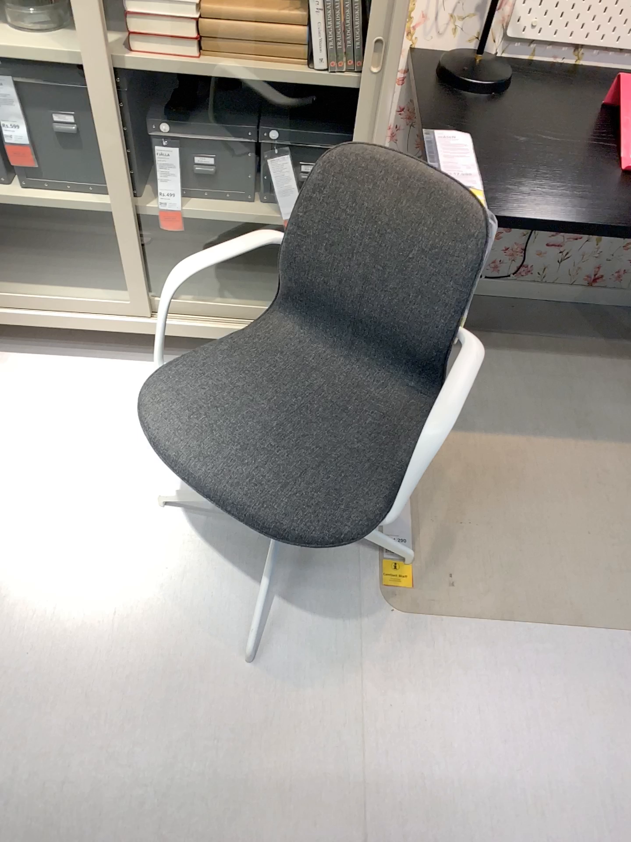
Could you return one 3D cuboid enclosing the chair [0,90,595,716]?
[{"bbox_3d":[-0.038,-0.003,1.246,0.621,0.837,0.641,32,56,17],"label":"chair"}]
